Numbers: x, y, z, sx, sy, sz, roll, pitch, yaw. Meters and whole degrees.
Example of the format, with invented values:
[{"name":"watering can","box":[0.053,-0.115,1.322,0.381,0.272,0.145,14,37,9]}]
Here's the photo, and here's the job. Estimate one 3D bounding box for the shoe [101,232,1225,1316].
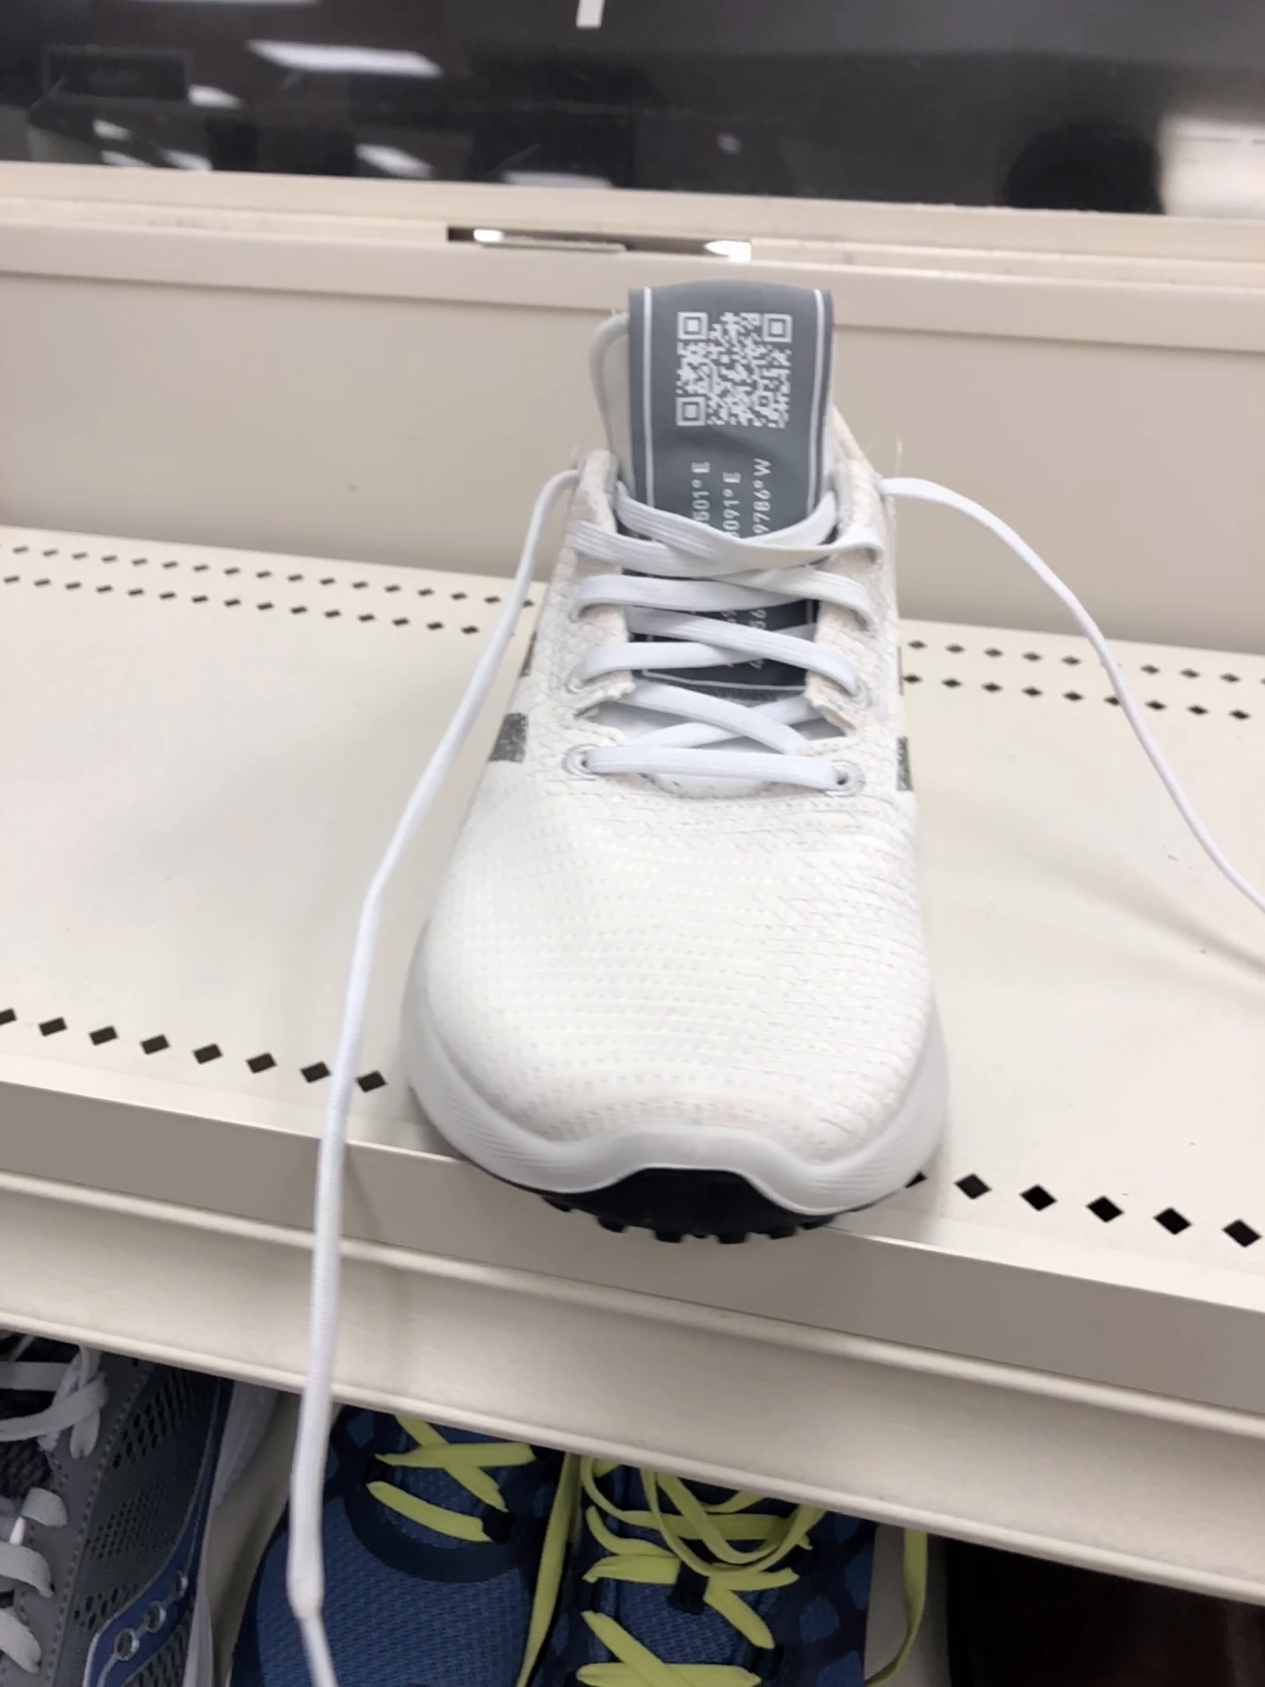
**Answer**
[{"name":"shoe","box":[0.019,-0.074,0.361,0.128,0.139,0.383,5,23,5]}]
